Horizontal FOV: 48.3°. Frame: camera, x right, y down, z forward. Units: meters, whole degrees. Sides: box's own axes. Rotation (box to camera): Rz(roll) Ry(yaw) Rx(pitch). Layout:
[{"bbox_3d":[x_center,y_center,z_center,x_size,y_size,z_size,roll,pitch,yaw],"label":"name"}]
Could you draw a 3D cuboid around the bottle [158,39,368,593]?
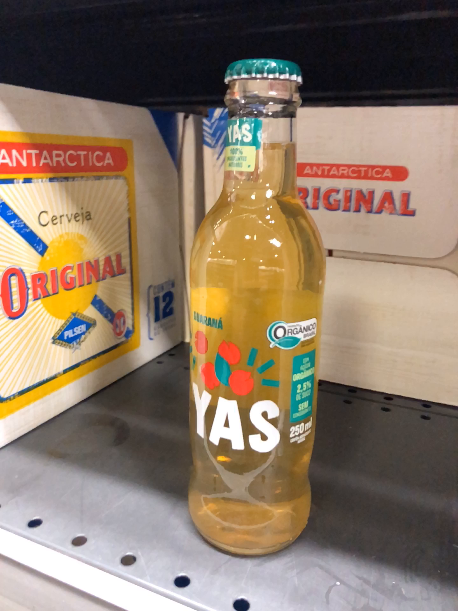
[{"bbox_3d":[0.015,0.007,0.214,0.060,0.199,0.060,0,16,0],"label":"bottle"}]
